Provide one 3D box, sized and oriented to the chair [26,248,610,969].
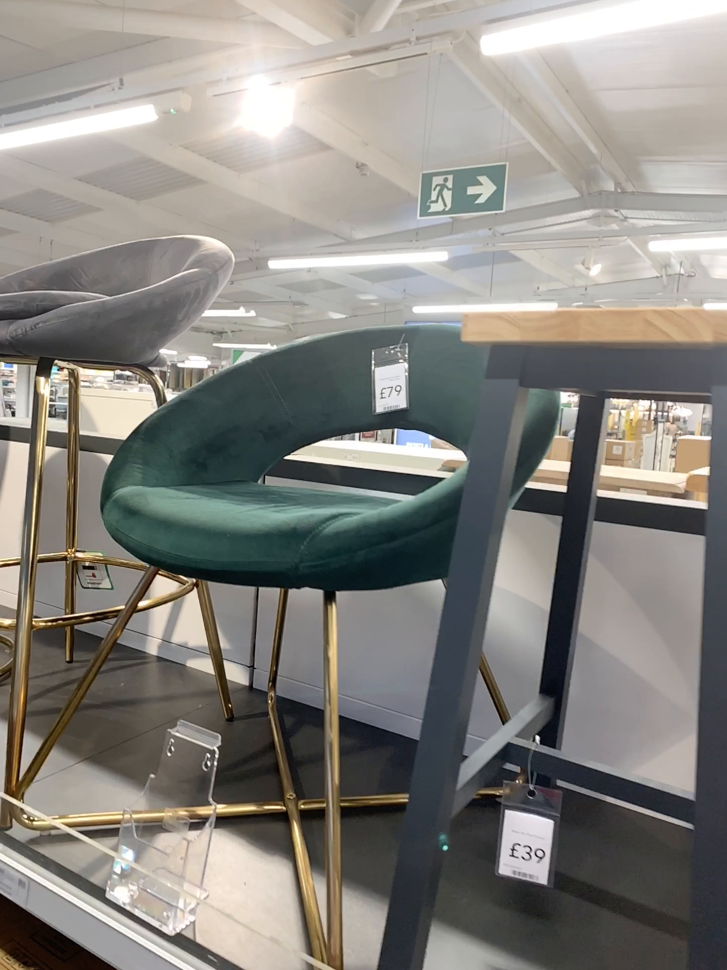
[{"bbox_3d":[-0.050,0.113,1.121,0.630,0.775,0.554,7,6,30],"label":"chair"}]
